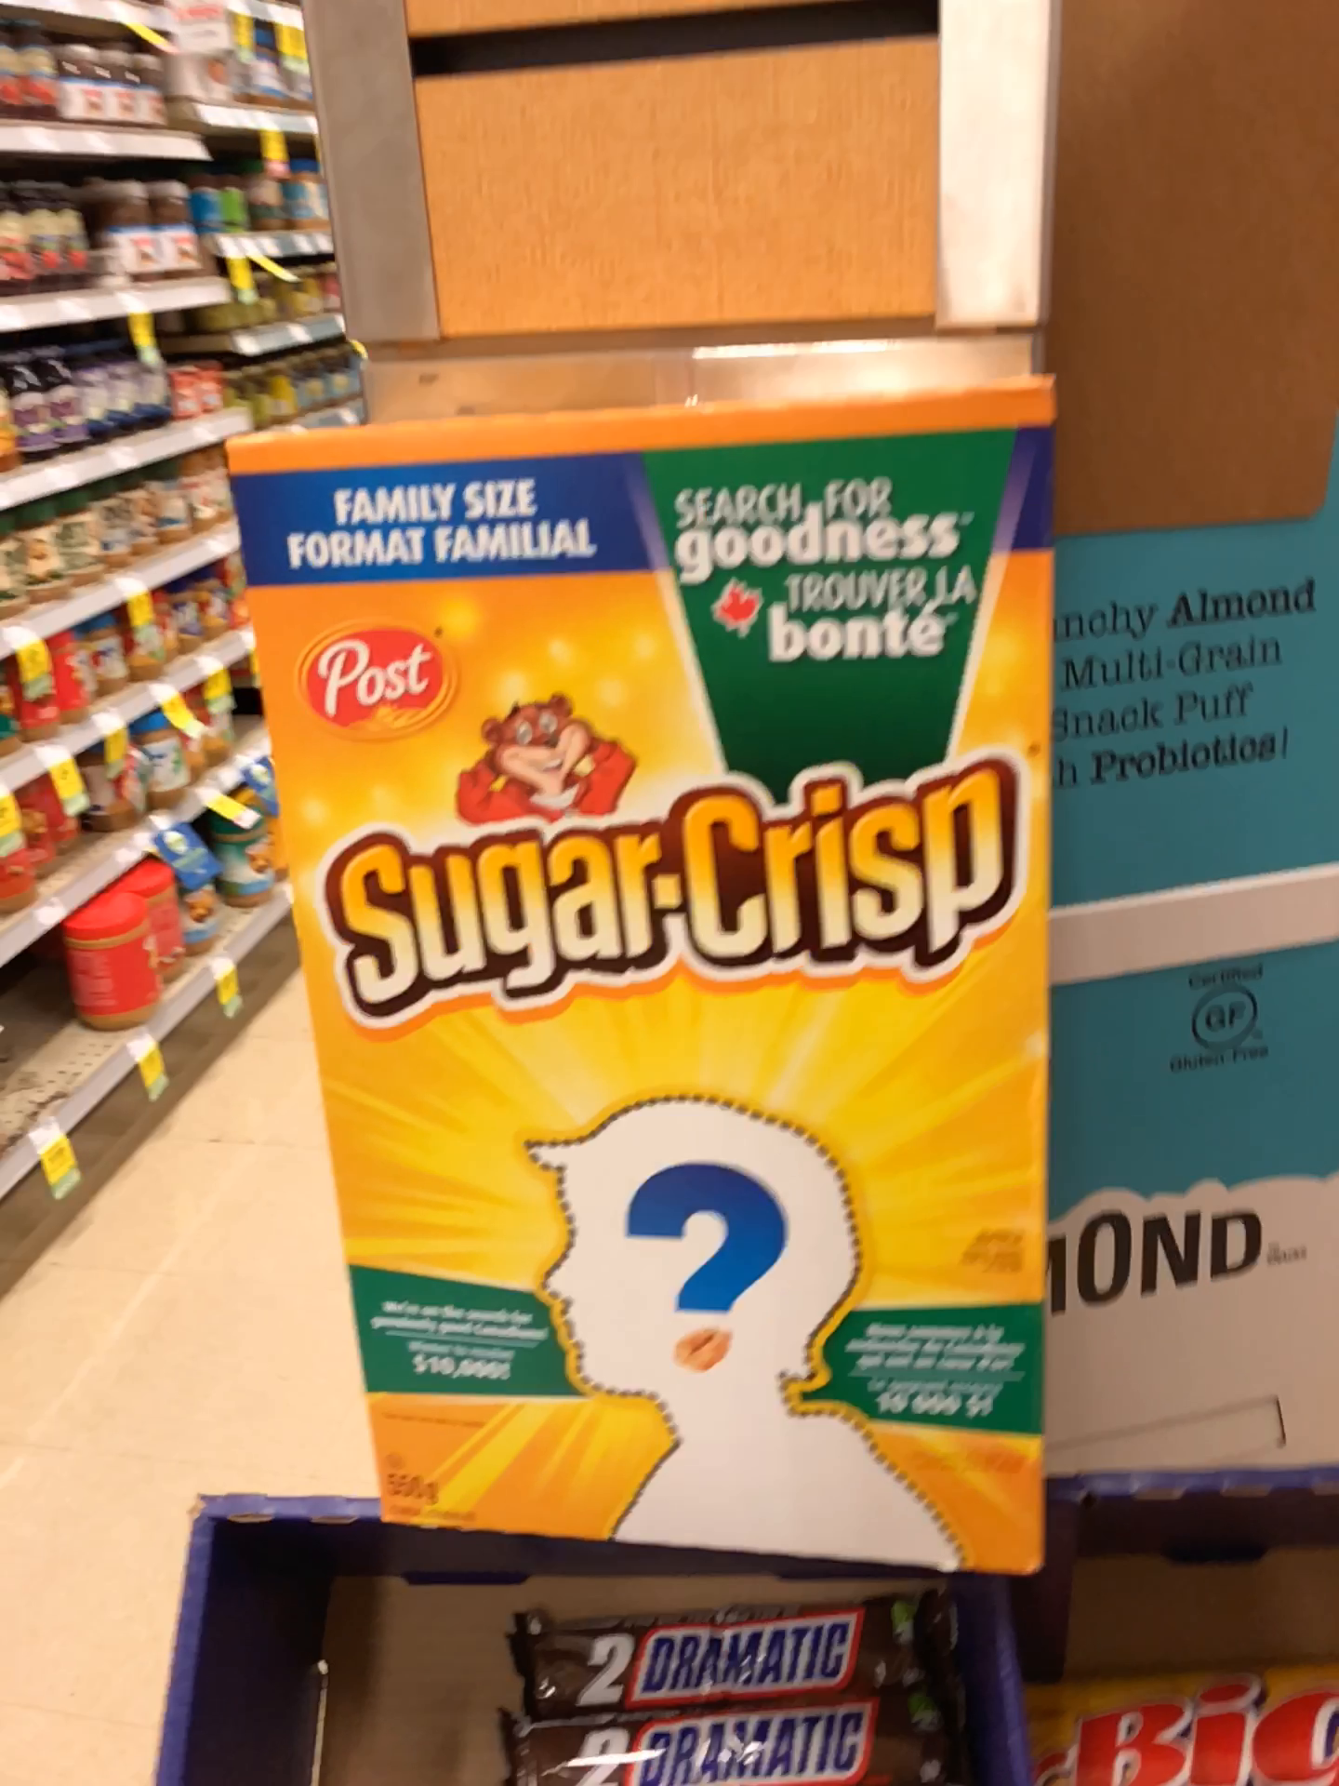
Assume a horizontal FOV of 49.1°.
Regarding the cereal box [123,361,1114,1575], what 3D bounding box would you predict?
[{"bbox_3d":[-0.002,0.023,0.398,0.220,0.299,0.080,0,17,11],"label":"cereal box"}]
